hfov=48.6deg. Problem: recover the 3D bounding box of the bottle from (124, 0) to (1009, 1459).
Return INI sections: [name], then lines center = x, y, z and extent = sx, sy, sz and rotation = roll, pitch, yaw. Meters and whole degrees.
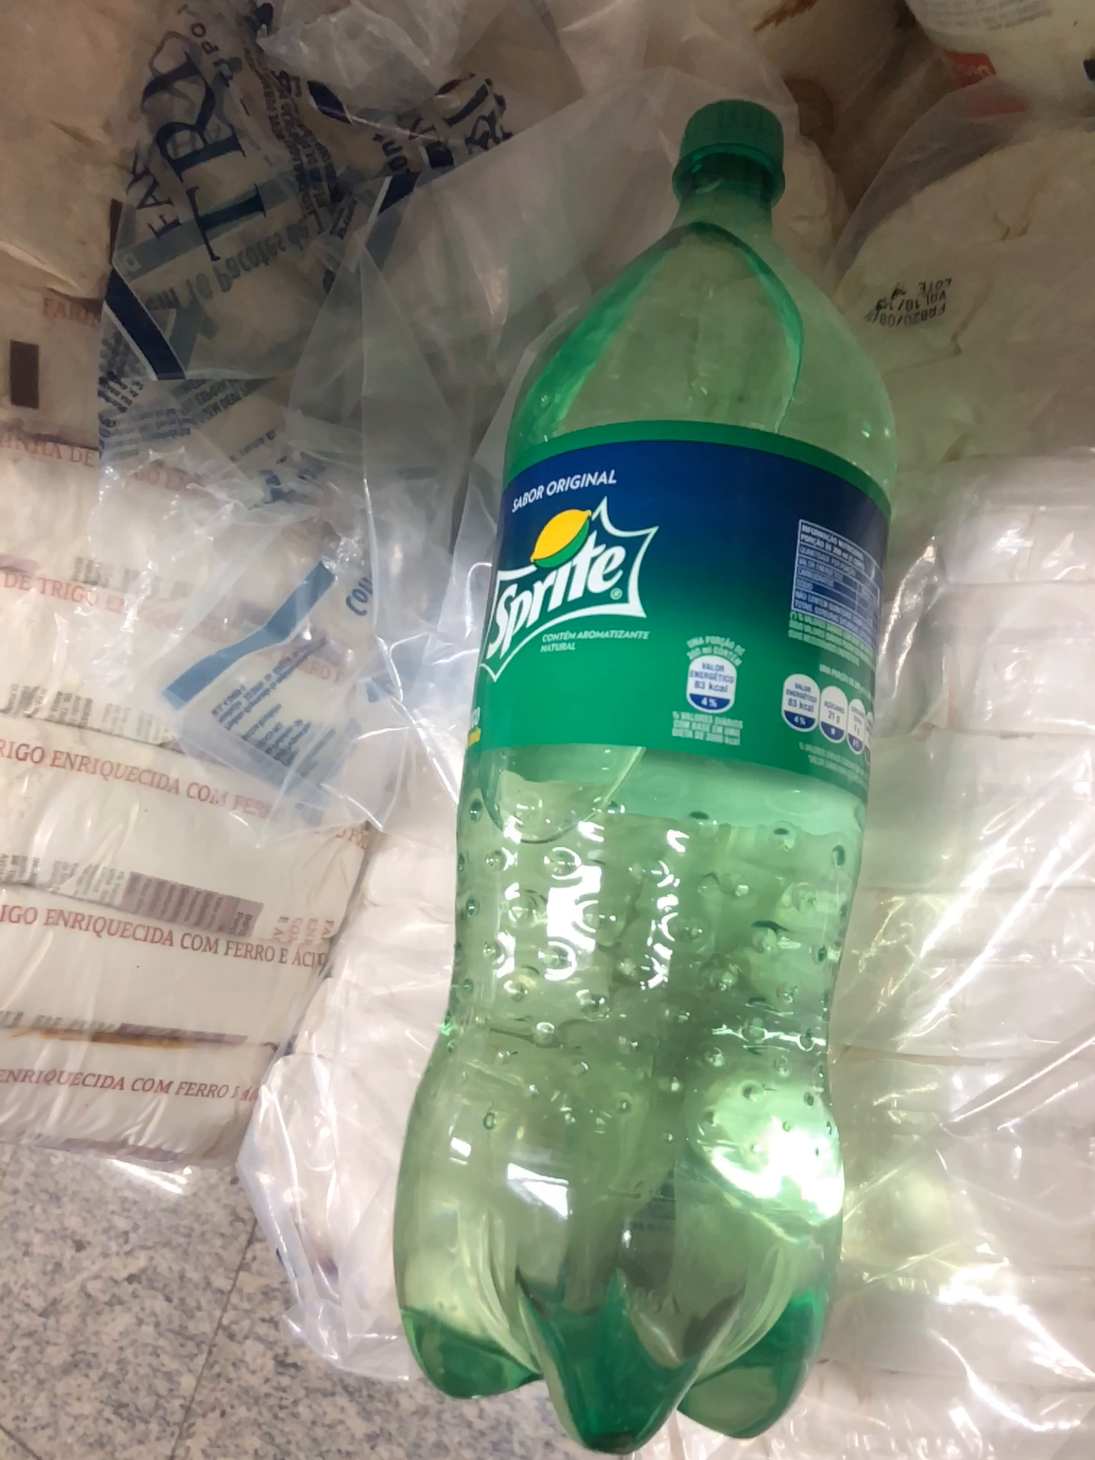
[bottle]
center = 0.031, -0.042, 0.312
extent = 0.110, 0.109, 0.381
rotation = -4, 64, 38
